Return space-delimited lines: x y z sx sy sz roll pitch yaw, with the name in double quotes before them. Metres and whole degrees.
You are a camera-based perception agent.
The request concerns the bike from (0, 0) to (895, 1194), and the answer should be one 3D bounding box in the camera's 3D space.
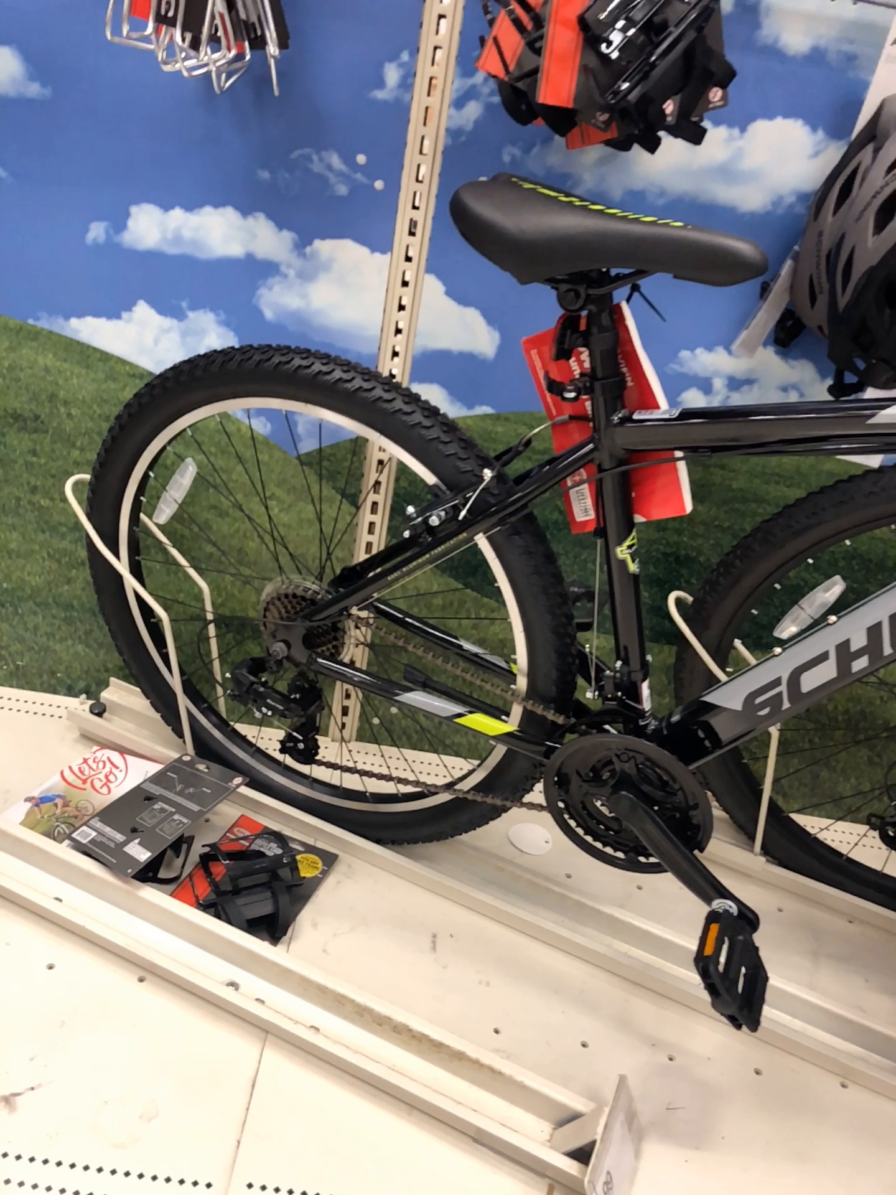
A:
"bike" 0.269 0.114 0.868 1.652 1.002 0.601 22 28 18
